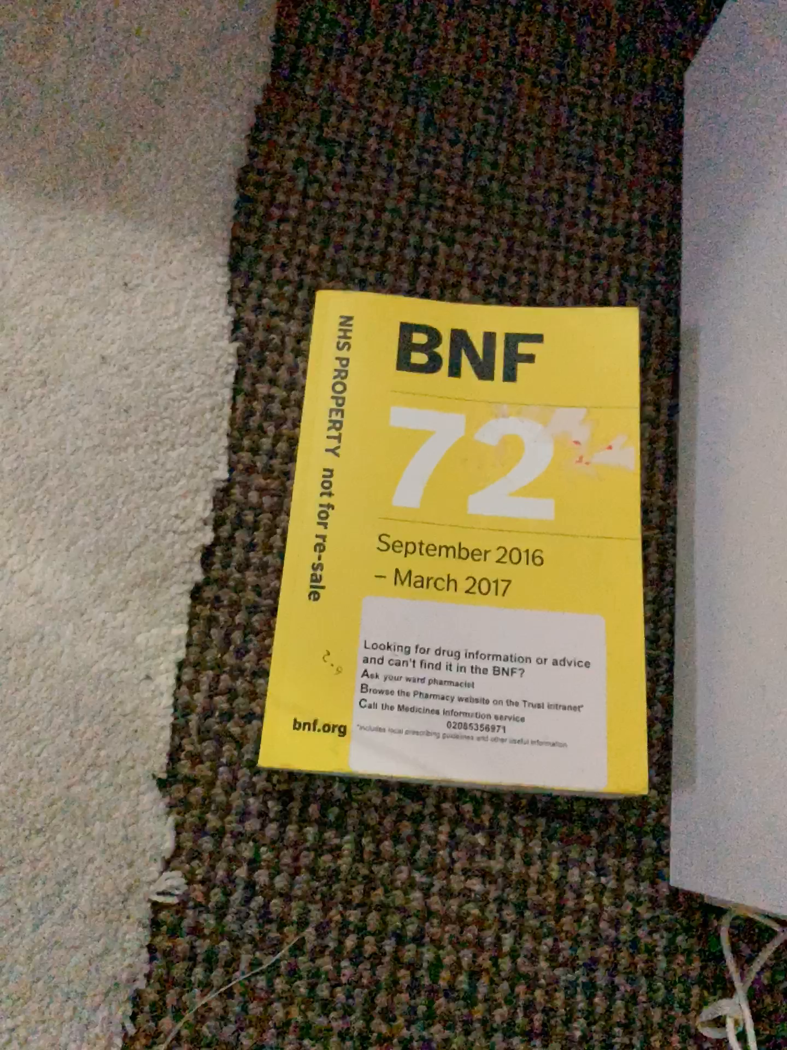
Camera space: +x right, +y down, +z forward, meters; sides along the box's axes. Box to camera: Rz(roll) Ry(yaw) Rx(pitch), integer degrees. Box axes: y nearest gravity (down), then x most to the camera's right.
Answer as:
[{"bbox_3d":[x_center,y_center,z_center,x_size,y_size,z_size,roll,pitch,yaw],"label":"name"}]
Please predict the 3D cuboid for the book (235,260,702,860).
[{"bbox_3d":[0.031,0.011,0.332,0.160,0.050,0.221,6,71,-6],"label":"book"}]
